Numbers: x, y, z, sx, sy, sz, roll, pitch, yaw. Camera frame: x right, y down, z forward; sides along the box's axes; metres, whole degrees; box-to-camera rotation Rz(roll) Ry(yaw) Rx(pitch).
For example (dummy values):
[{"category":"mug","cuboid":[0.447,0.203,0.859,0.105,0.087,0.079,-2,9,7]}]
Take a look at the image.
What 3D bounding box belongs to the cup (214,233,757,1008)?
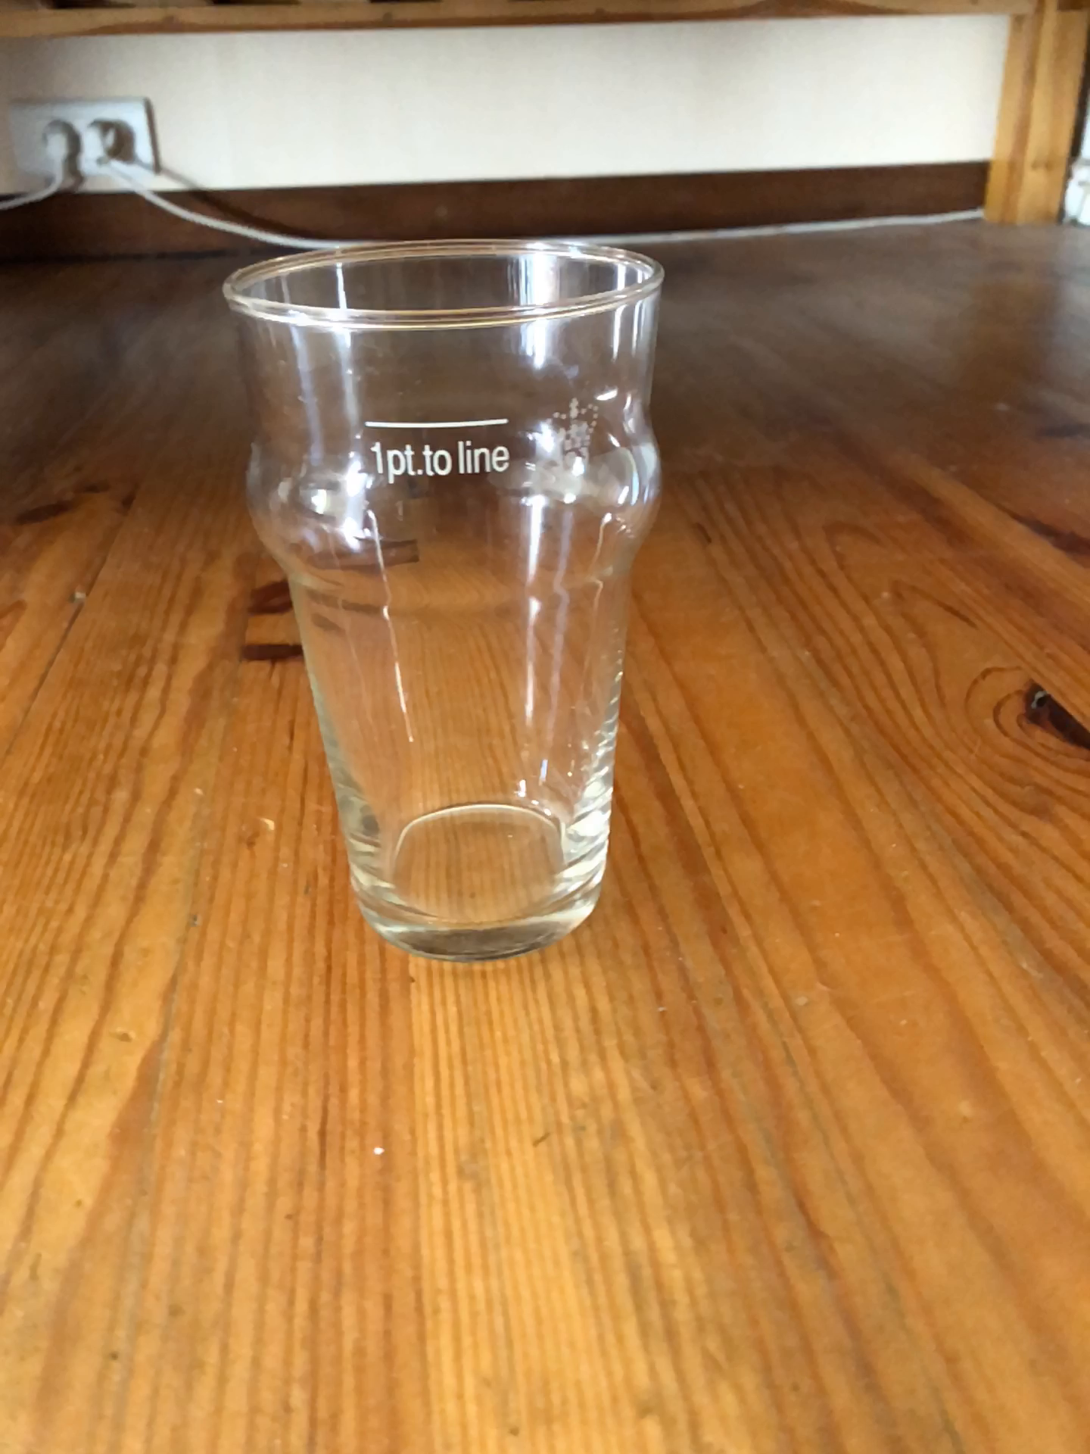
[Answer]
[{"category":"cup","cuboid":[-0.018,-0.029,0.294,0.095,0.151,0.092,0,32,0]}]
